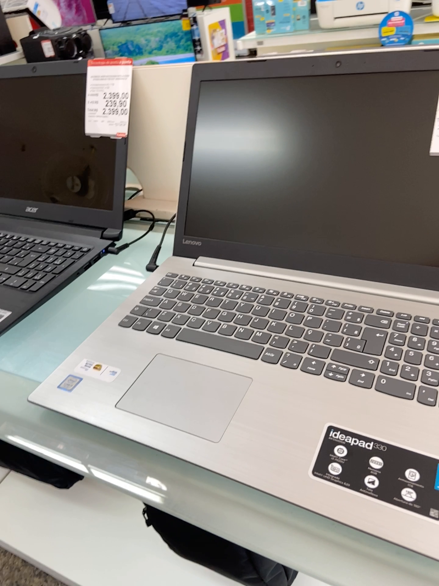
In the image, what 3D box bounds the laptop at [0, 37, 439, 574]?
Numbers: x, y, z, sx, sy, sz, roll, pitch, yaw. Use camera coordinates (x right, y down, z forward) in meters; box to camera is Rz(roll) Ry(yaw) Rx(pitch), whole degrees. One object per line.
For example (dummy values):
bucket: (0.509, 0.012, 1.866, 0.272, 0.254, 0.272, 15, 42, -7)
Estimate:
laptop: (0.056, -0.065, 0.412, 0.371, 0.194, 0.391, 10, 41, 27)
